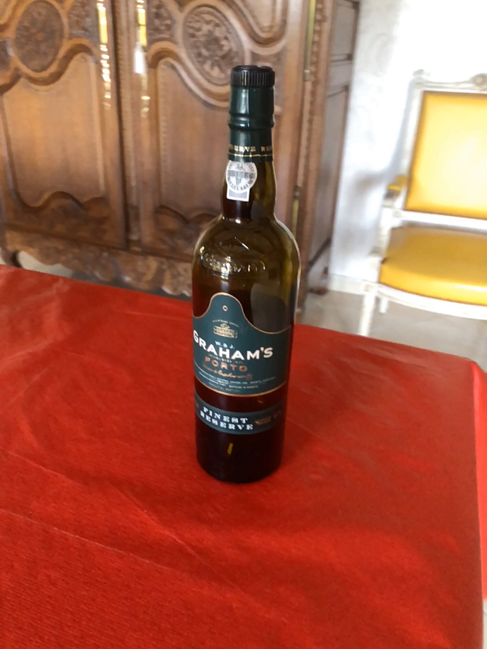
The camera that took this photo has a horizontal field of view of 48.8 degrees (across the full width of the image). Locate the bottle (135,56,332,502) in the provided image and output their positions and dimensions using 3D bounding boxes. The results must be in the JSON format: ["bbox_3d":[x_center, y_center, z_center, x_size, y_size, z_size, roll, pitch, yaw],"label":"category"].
[{"bbox_3d":[-0.006,-0.025,0.390,0.090,0.298,0.091,2,28,-1],"label":"bottle"}]
